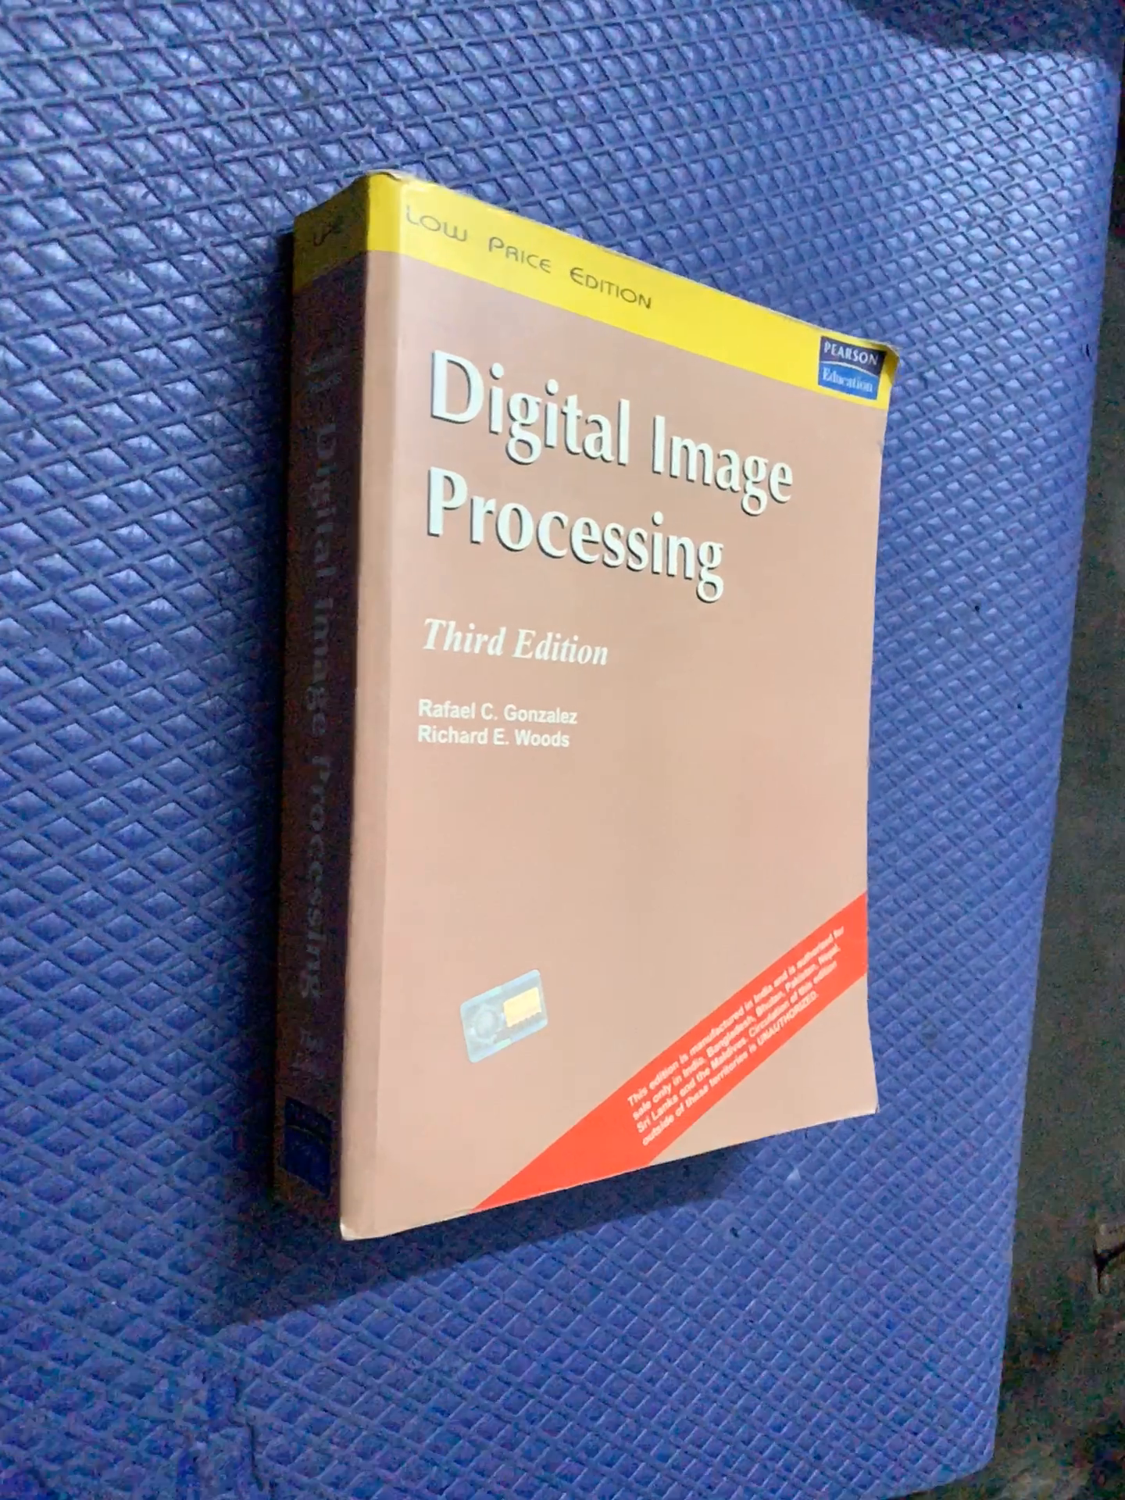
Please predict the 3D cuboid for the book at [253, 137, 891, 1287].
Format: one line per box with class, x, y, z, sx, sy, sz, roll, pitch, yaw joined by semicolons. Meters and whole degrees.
book;0.014;-0.006;0.301;0.175;0.045;0.225;2;88;-40
